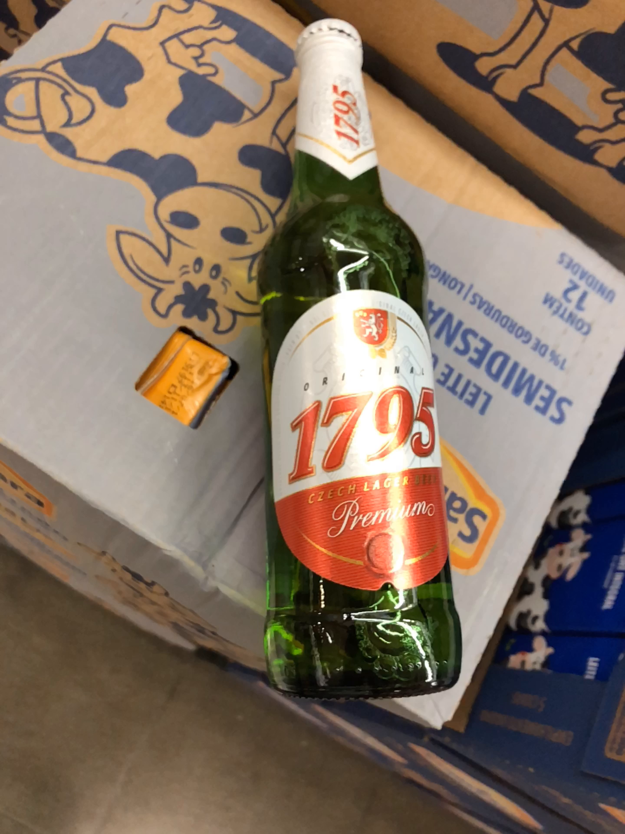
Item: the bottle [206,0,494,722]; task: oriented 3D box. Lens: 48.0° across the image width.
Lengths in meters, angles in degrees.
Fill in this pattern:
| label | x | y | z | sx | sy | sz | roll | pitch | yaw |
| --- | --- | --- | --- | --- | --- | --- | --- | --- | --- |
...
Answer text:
| label | x | y | z | sx | sy | sz | roll | pitch | yaw |
| --- | --- | --- | --- | --- | --- | --- | --- | --- | --- |
| bottle | 0.002 | -0.042 | 0.255 | 0.070 | 0.060 | 0.270 | 2 | 73 | -18 |
